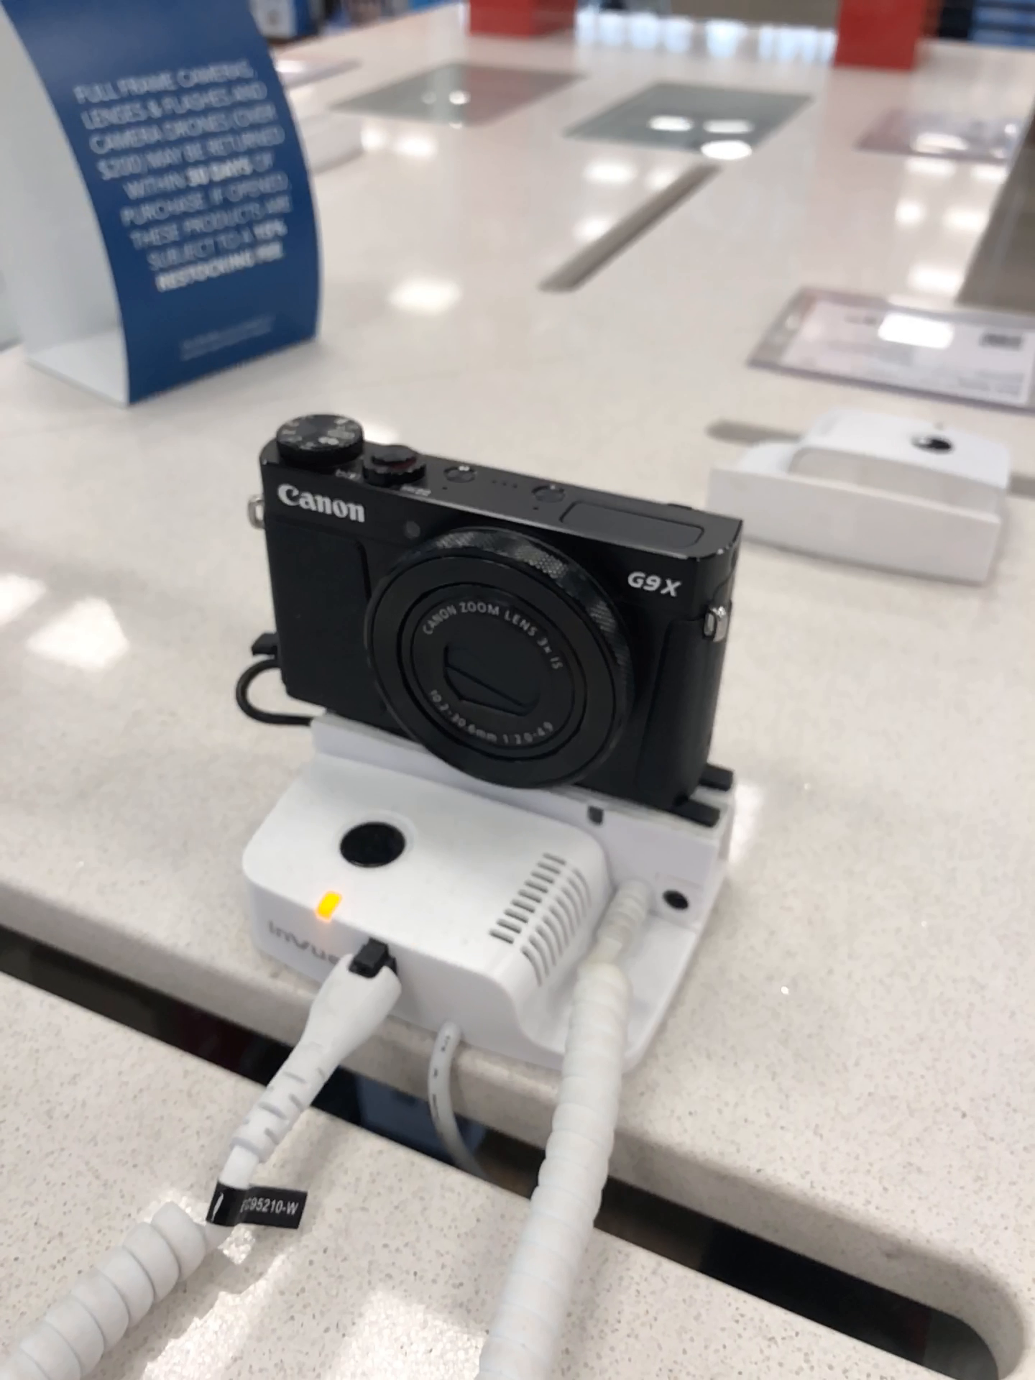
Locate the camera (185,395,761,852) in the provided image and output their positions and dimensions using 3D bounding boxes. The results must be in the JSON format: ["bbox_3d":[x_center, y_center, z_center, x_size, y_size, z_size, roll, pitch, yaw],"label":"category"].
[{"bbox_3d":[-0.010,-0.015,0.227,0.100,0.060,0.030,16,39,19],"label":"camera"}]
